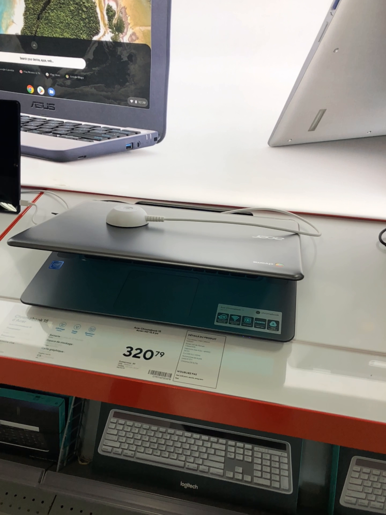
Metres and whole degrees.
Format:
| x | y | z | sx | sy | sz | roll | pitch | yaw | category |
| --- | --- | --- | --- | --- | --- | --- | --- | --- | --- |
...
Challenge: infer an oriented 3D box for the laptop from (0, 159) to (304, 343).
| x | y | z | sx | sy | sz | roll | pitch | yaw | category |
| --- | --- | --- | --- | --- | --- | --- | --- | --- | --- |
| -0.035 | -0.031 | 0.613 | 0.369 | 0.088 | 0.249 | 7 | 40 | 11 | laptop |
